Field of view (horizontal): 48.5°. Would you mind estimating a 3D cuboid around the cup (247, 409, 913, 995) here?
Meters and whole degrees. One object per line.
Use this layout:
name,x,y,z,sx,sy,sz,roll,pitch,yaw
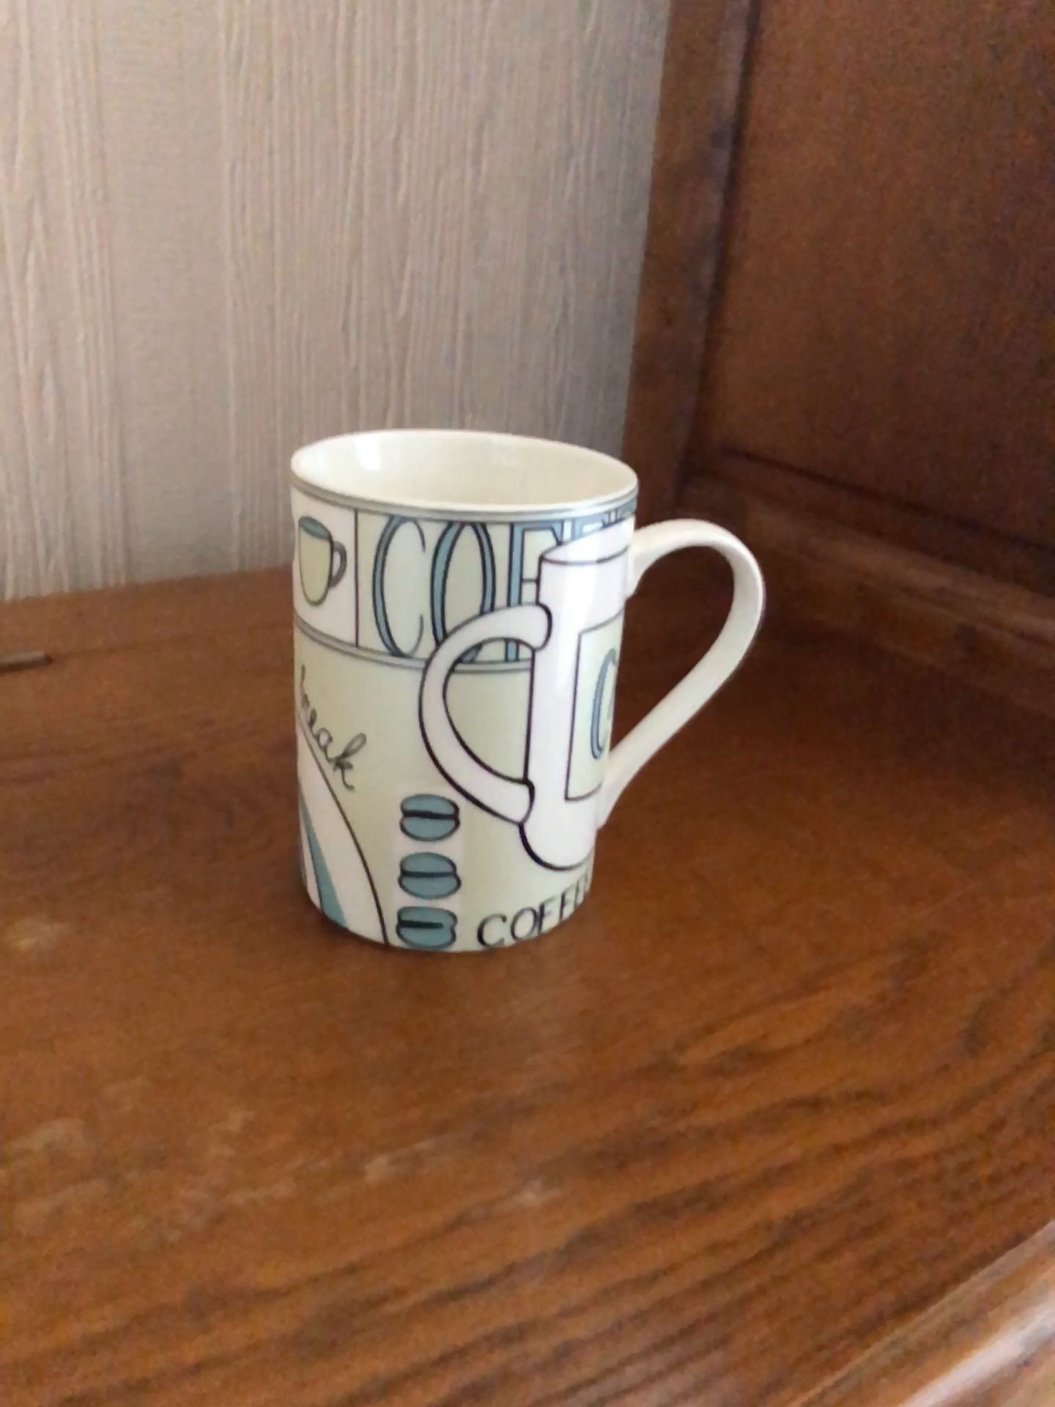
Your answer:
cup,0.003,-0.008,0.266,0.120,0.099,0.080,-4,24,-19
